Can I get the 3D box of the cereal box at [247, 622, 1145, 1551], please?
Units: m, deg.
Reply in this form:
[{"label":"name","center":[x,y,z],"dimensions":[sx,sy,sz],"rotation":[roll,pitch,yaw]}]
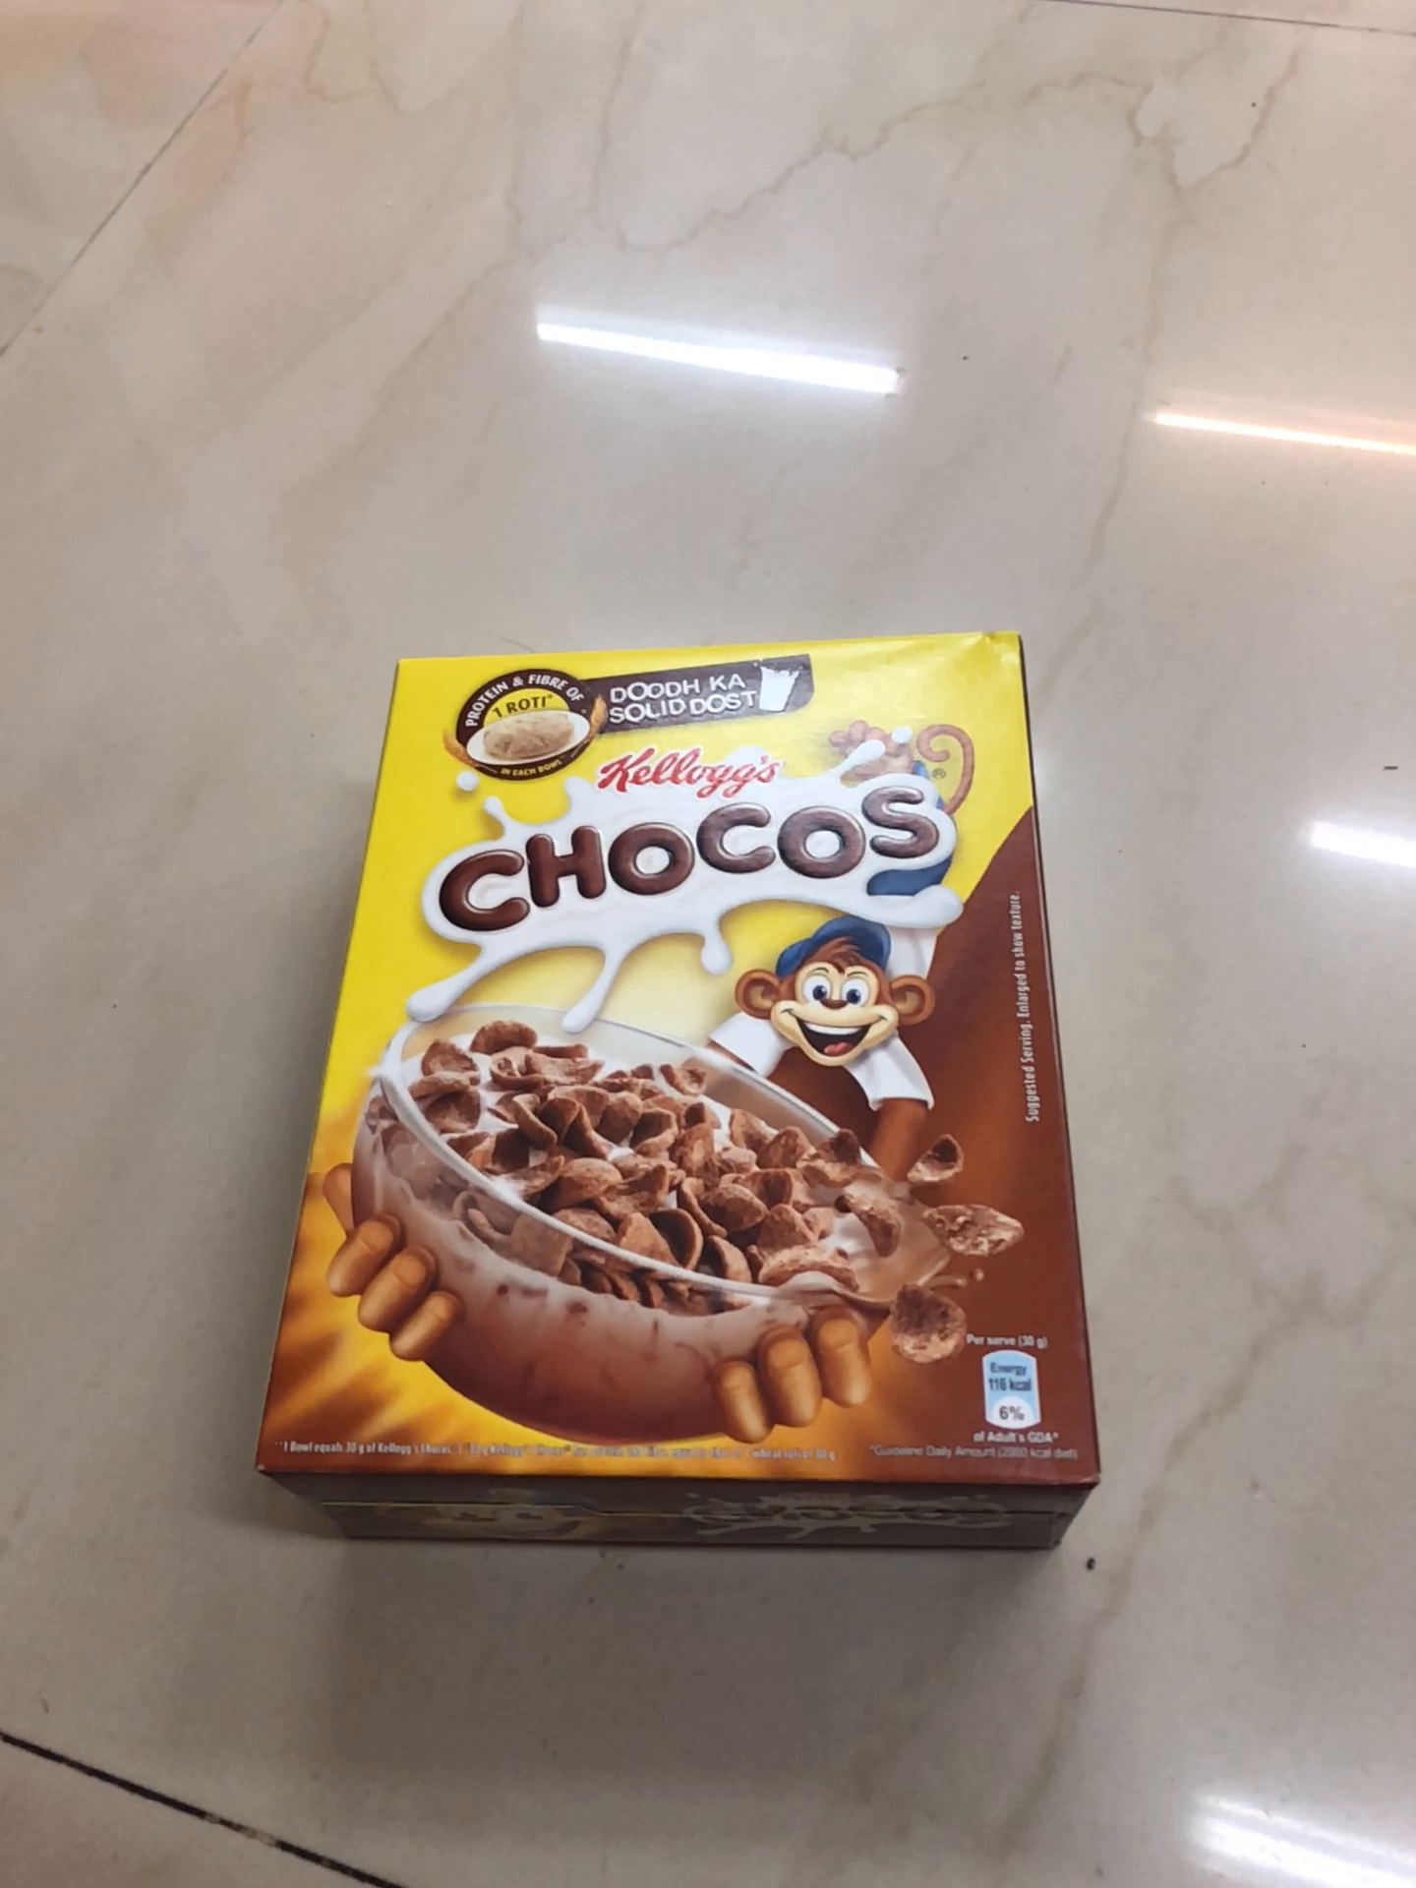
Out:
[{"label":"cereal box","center":[0.002,0.022,0.305],"dimensions":[0.140,0.050,0.171],"rotation":[0,62,5]}]
